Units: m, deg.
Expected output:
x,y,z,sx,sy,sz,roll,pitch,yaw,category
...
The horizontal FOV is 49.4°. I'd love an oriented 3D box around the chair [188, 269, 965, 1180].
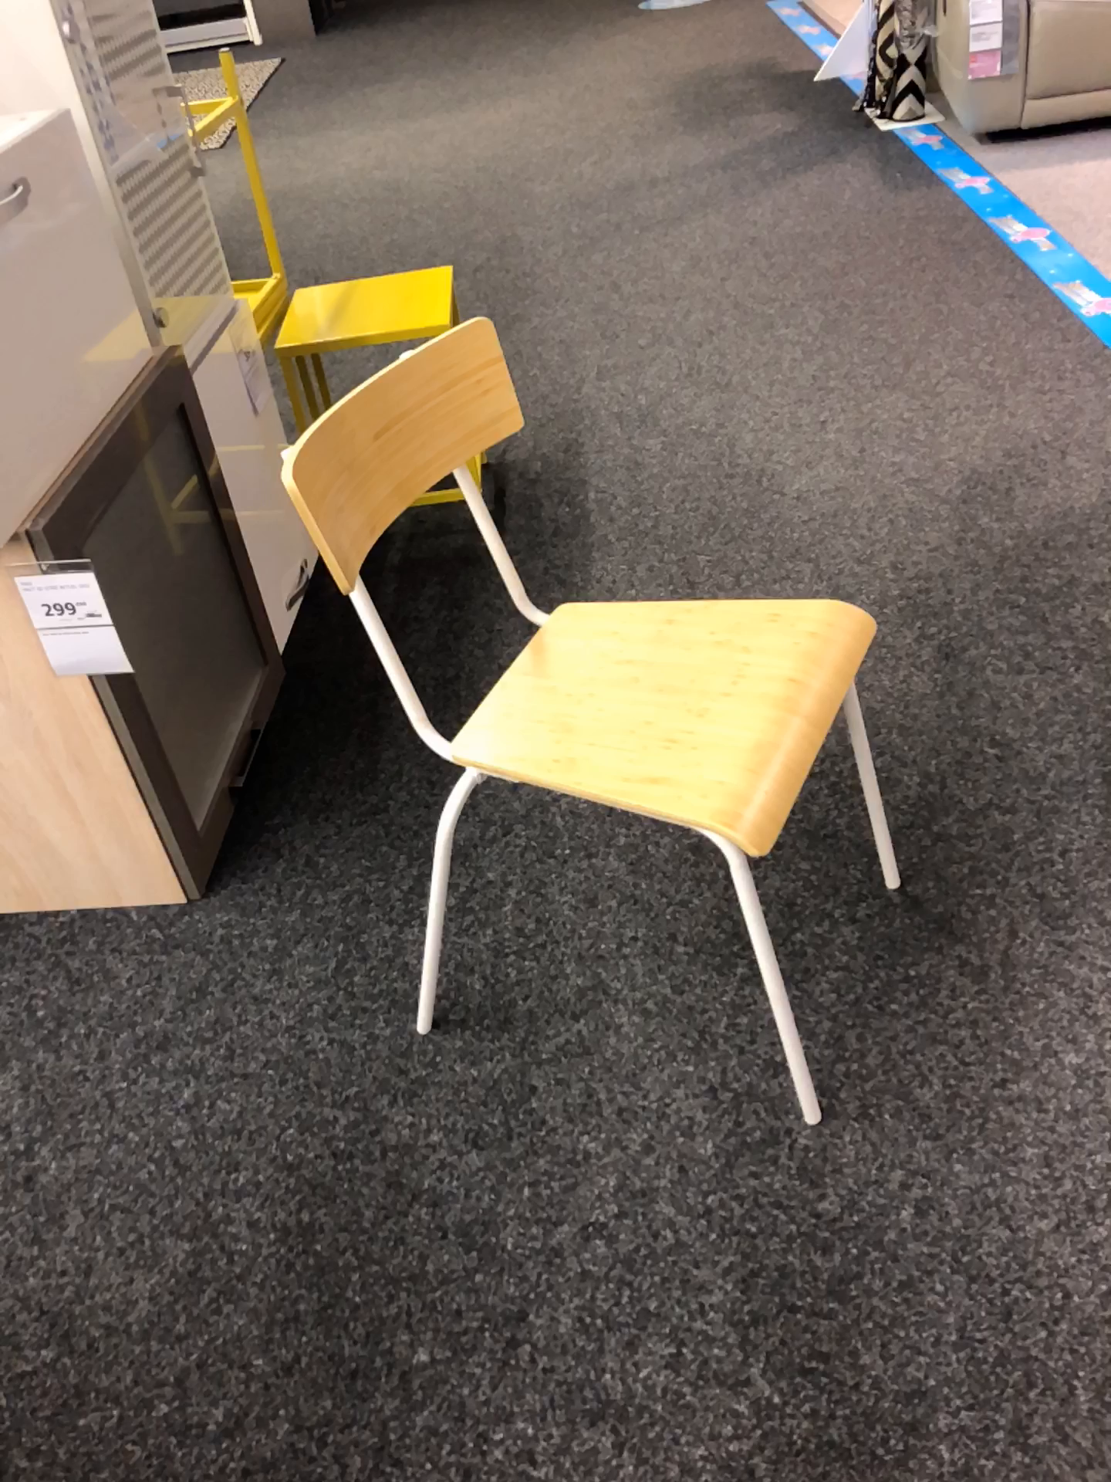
x,y,z,sx,sy,sz,roll,pitch,yaw,category
0.100,-0.037,1.397,0.580,0.815,0.543,9,42,23,chair
